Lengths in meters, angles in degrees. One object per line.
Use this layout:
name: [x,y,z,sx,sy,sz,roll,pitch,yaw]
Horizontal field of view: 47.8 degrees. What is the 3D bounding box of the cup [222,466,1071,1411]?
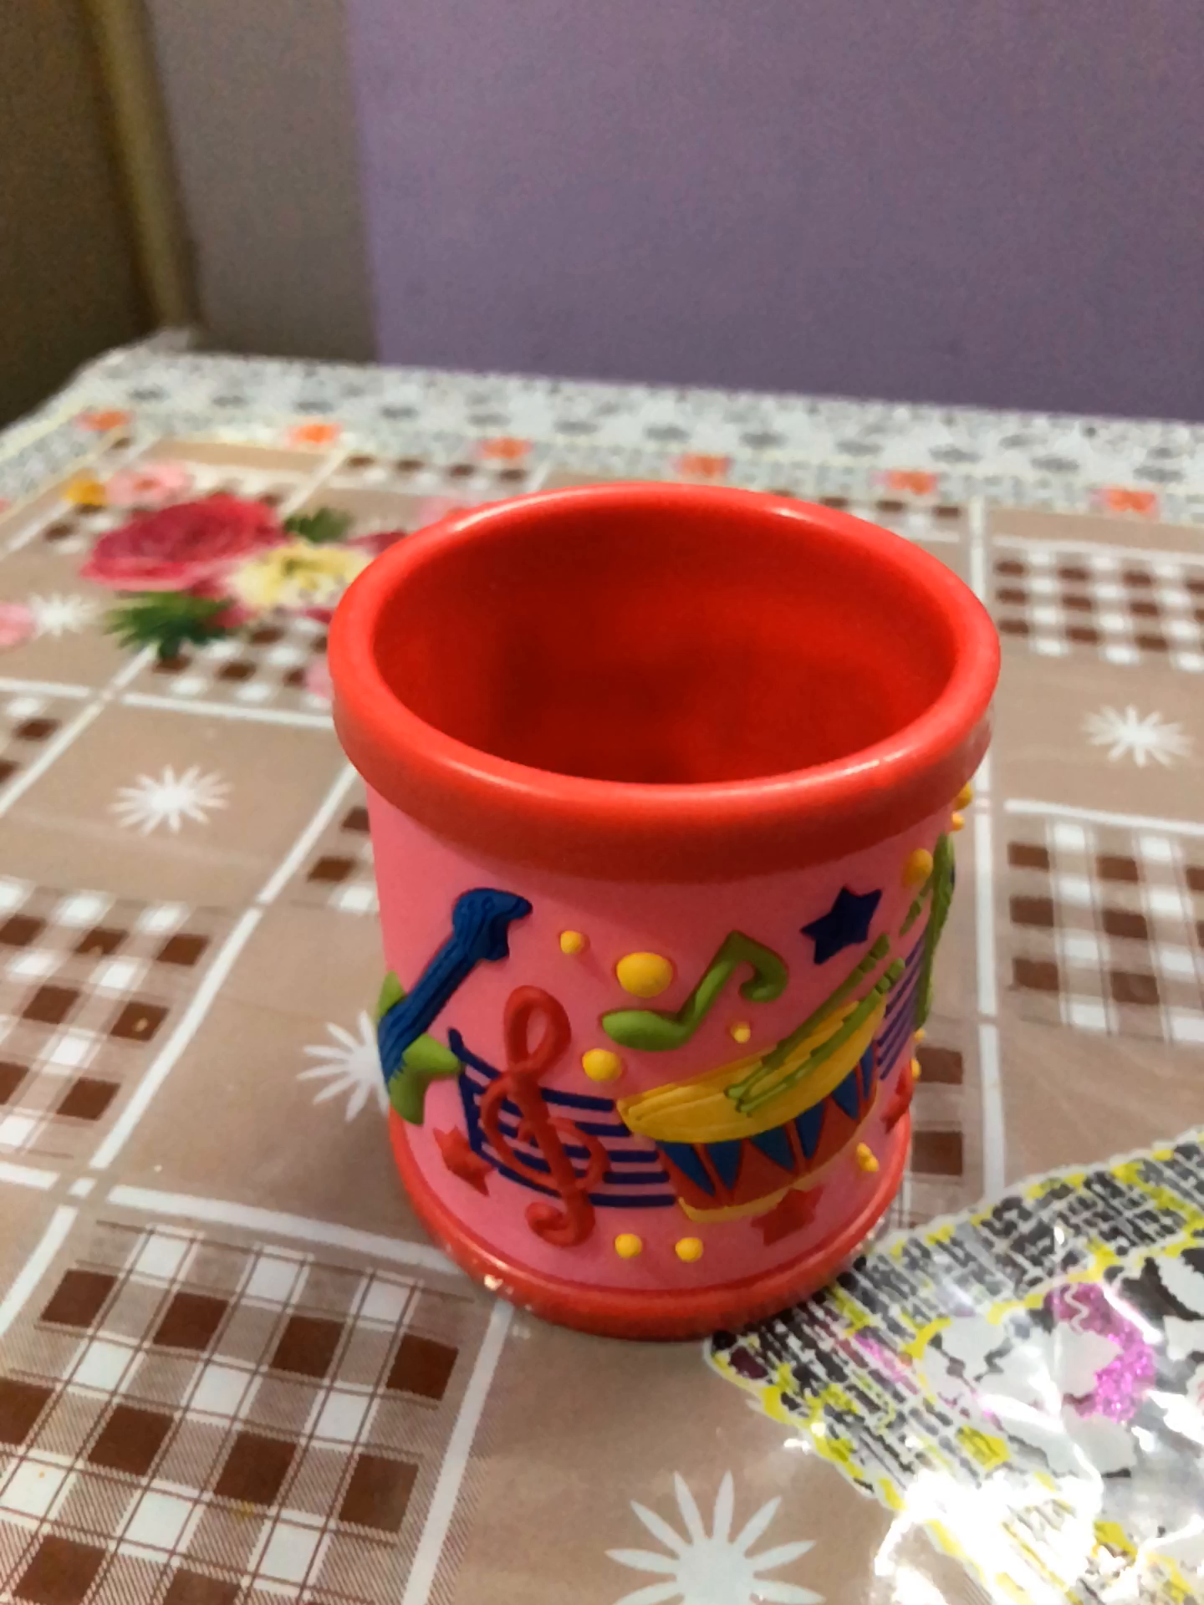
cup: [0.006,0.017,0.189,0.080,0.099,0.081,0,36,0]
